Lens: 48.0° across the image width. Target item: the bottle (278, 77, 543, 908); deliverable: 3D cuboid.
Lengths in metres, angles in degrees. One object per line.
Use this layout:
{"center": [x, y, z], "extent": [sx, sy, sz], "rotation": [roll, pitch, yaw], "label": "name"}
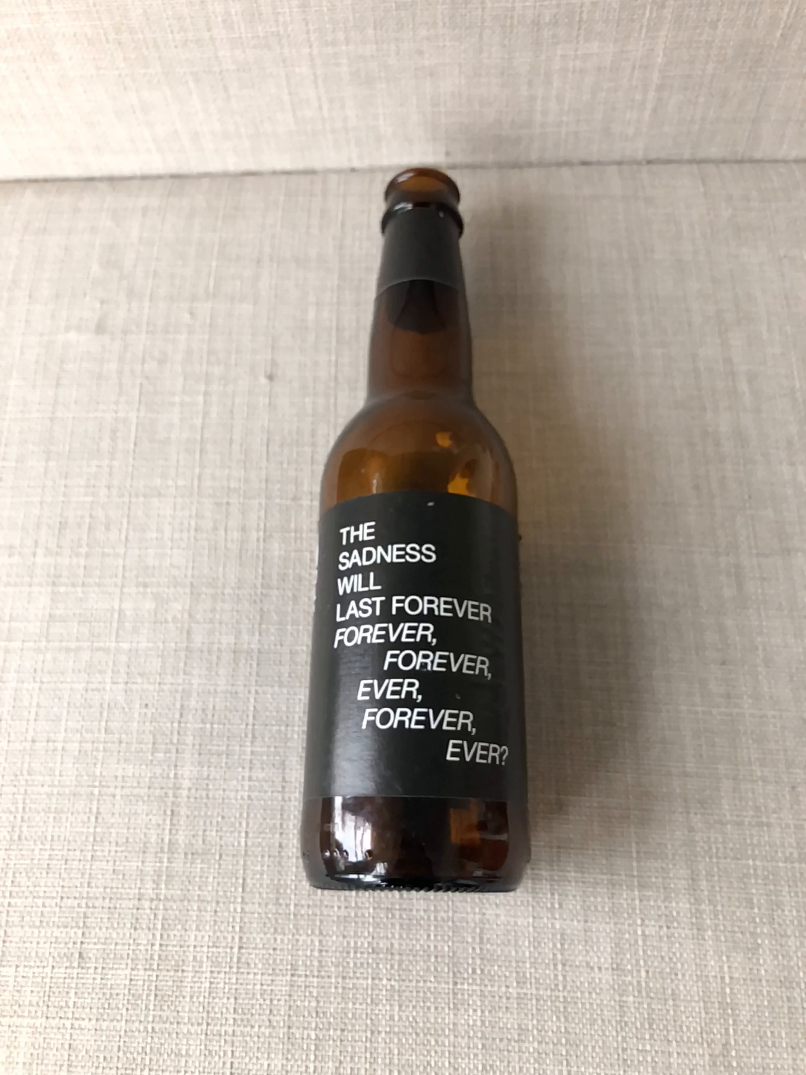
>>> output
{"center": [0.005, -0.021, 0.271], "extent": [0.060, 0.060, 0.239], "rotation": [1, 71, 2], "label": "bottle"}
